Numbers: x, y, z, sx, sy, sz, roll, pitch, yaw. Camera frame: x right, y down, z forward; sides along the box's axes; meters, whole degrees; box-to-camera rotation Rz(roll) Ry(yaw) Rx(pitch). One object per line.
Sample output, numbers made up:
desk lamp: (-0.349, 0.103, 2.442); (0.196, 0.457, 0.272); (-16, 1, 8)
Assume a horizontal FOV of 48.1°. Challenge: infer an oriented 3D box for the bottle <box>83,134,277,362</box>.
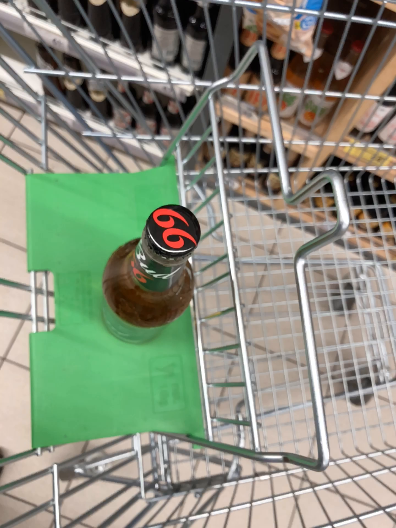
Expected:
bottle: (-0.033, 0.012, 0.332); (0.070, 0.240, 0.080); (-22, 79, -18)
